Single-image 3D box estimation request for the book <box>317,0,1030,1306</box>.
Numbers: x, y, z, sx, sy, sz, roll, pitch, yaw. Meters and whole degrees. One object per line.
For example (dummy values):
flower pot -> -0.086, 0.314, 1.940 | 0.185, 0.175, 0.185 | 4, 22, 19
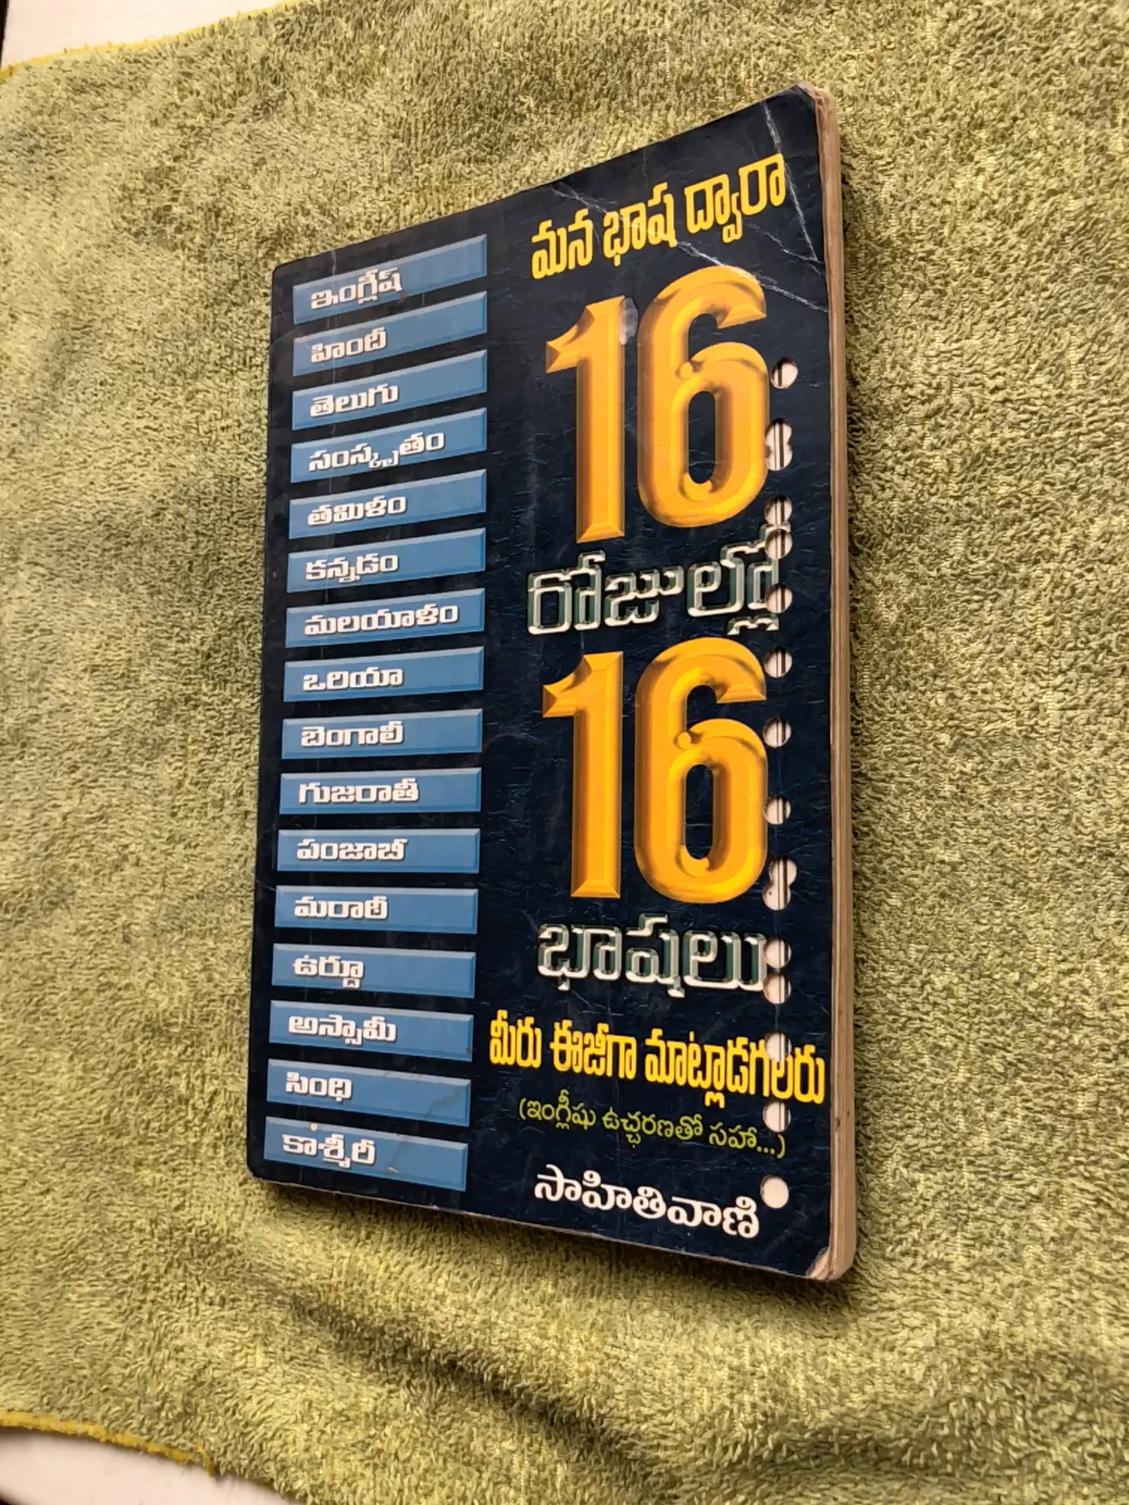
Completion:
book -> 0.016, -0.020, 0.256 | 0.140, 0.030, 0.220 | -2, 84, 32
